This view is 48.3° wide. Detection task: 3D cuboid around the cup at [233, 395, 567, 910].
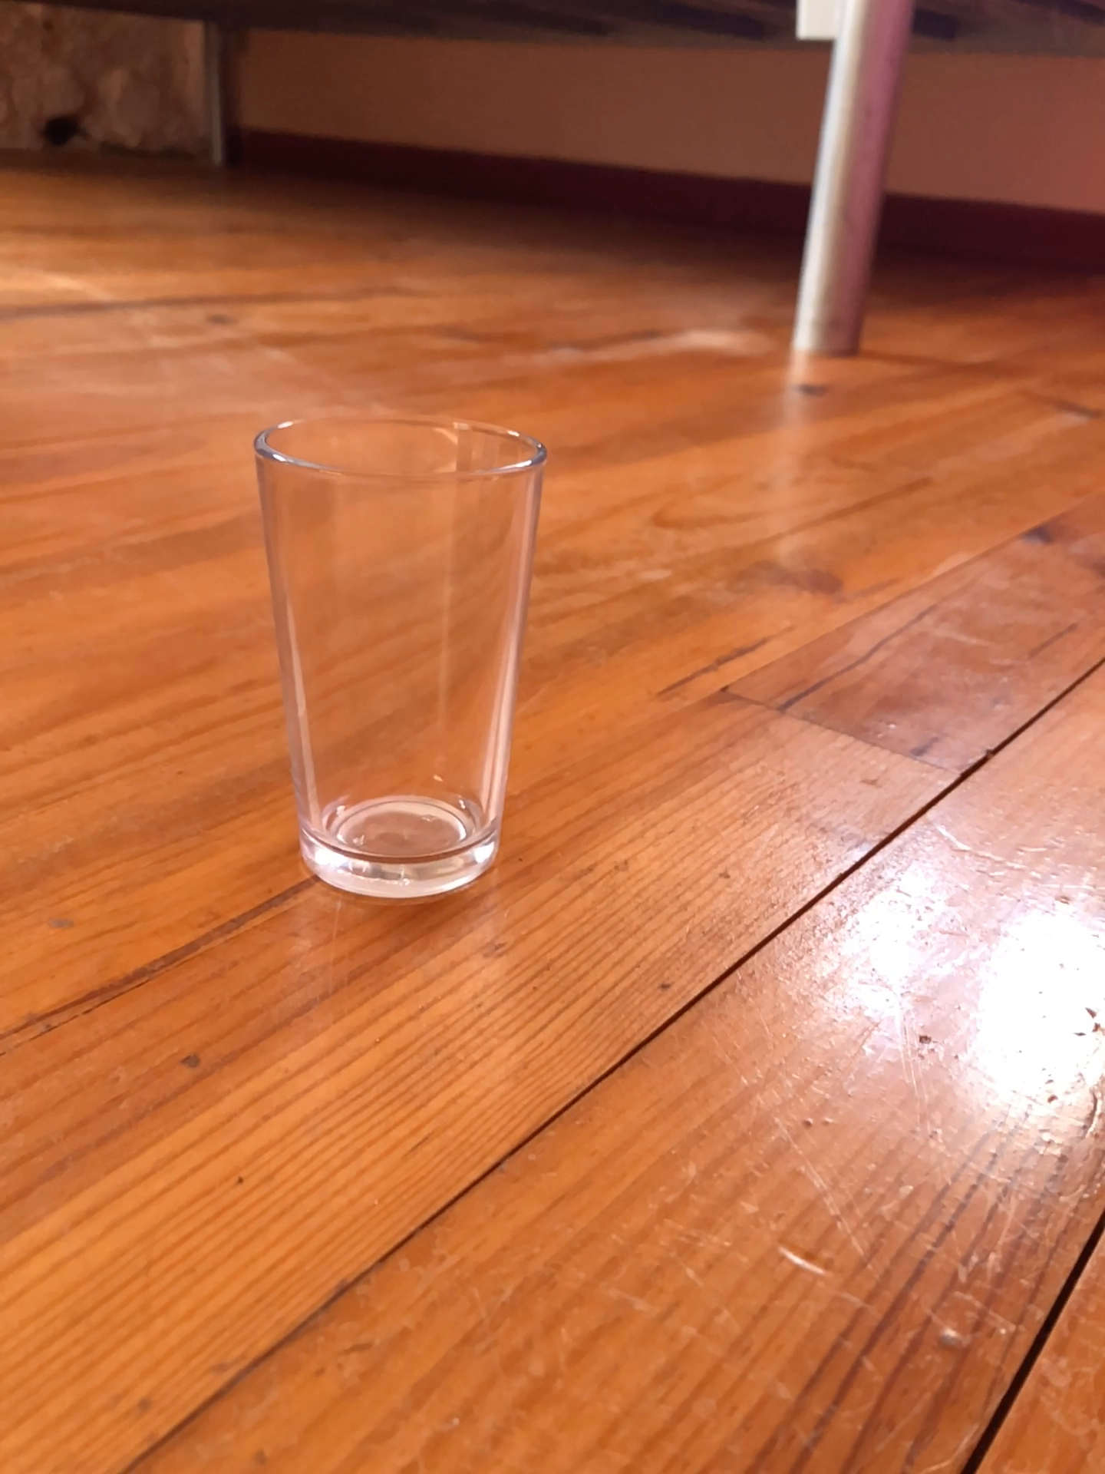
[{"bbox_3d":[-0.027,-0.017,0.231,0.051,0.079,0.055,4,24,-2],"label":"cup"}]
